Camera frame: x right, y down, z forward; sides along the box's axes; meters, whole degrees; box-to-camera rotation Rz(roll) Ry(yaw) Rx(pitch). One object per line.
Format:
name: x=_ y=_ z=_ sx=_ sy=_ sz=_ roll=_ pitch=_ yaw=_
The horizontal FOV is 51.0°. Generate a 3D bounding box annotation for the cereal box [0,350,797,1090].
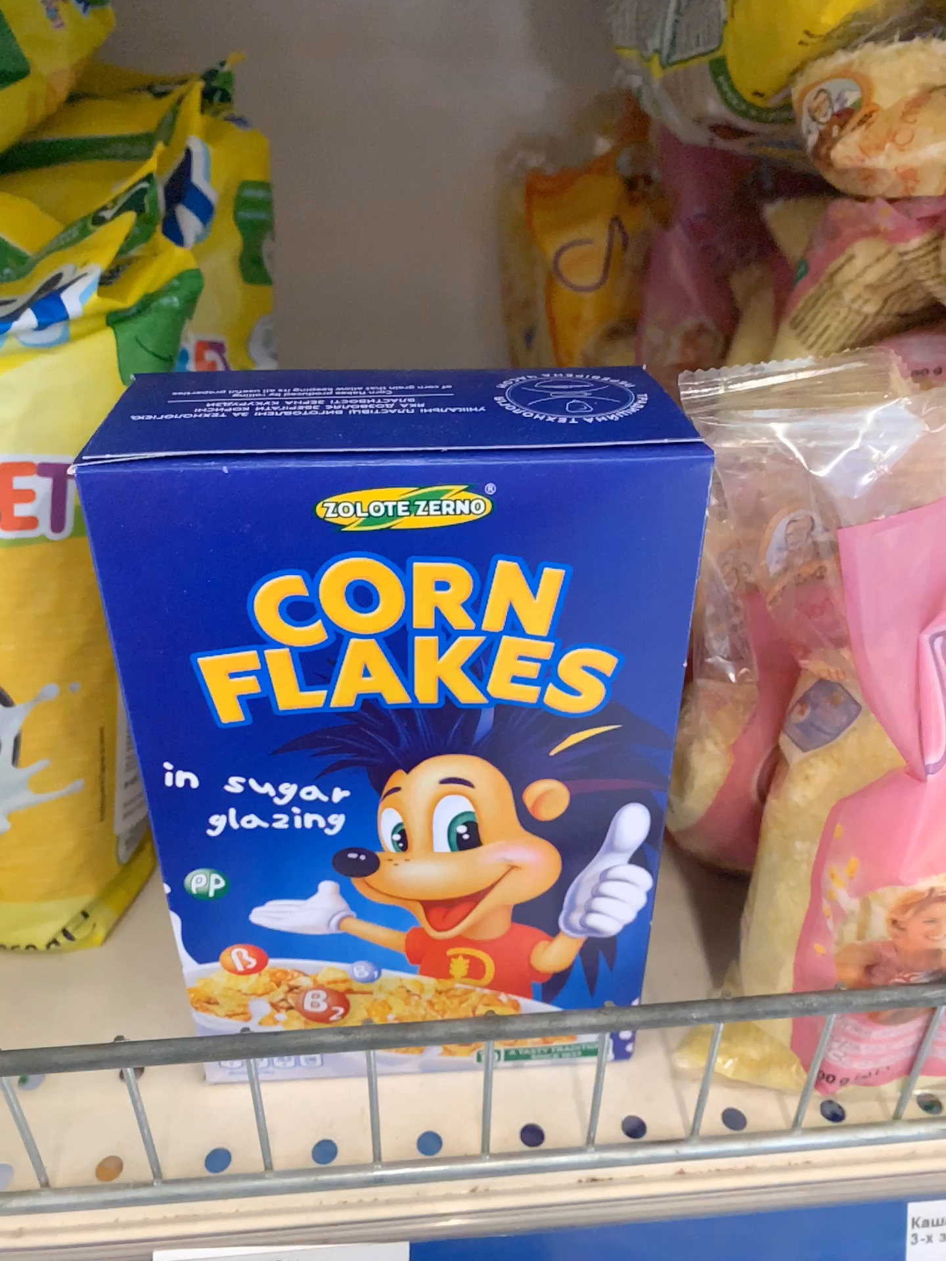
cereal box: x=-0.015 y=0.026 z=0.218 sx=0.130 sy=0.159 sz=0.050 roll=-2 pitch=32 yaw=-4
